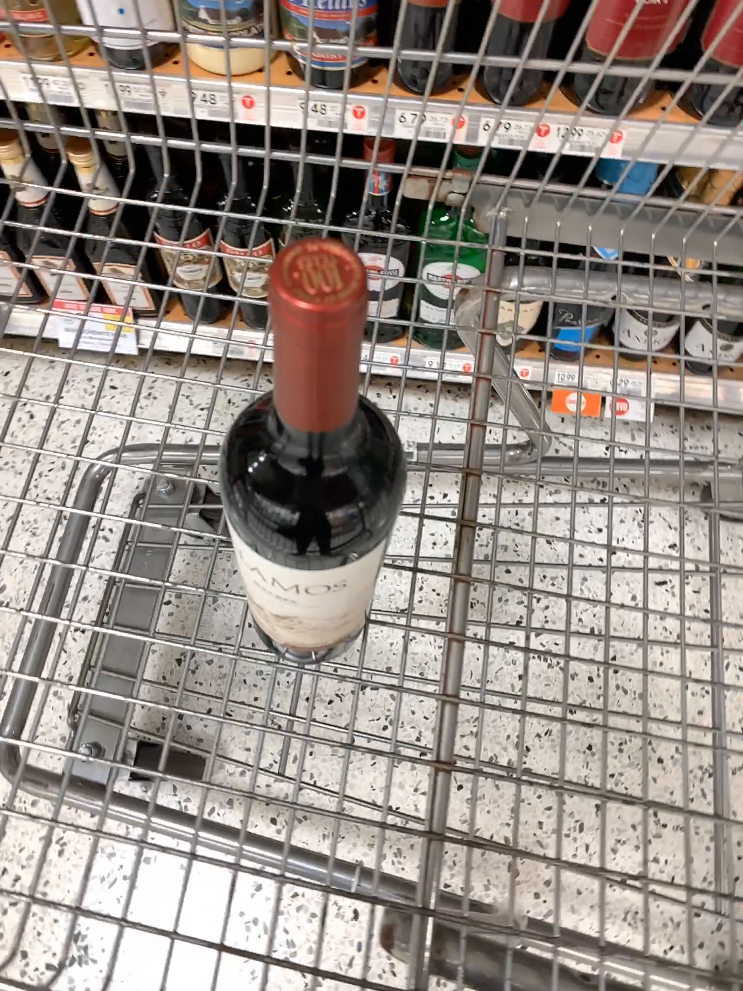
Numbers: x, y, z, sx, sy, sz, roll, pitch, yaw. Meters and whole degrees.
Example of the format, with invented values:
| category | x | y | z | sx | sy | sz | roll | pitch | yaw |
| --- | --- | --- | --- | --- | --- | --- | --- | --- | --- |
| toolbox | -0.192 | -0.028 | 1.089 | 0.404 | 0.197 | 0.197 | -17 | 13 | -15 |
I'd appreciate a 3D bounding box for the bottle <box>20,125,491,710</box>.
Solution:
| category | x | y | z | sx | sy | sz | roll | pitch | yaw |
| --- | --- | --- | --- | --- | --- | --- | --- | --- | --- |
| bottle | -0.034 | 0.009 | 0.329 | 0.090 | 0.298 | 0.080 | 29 | 67 | 10 |
